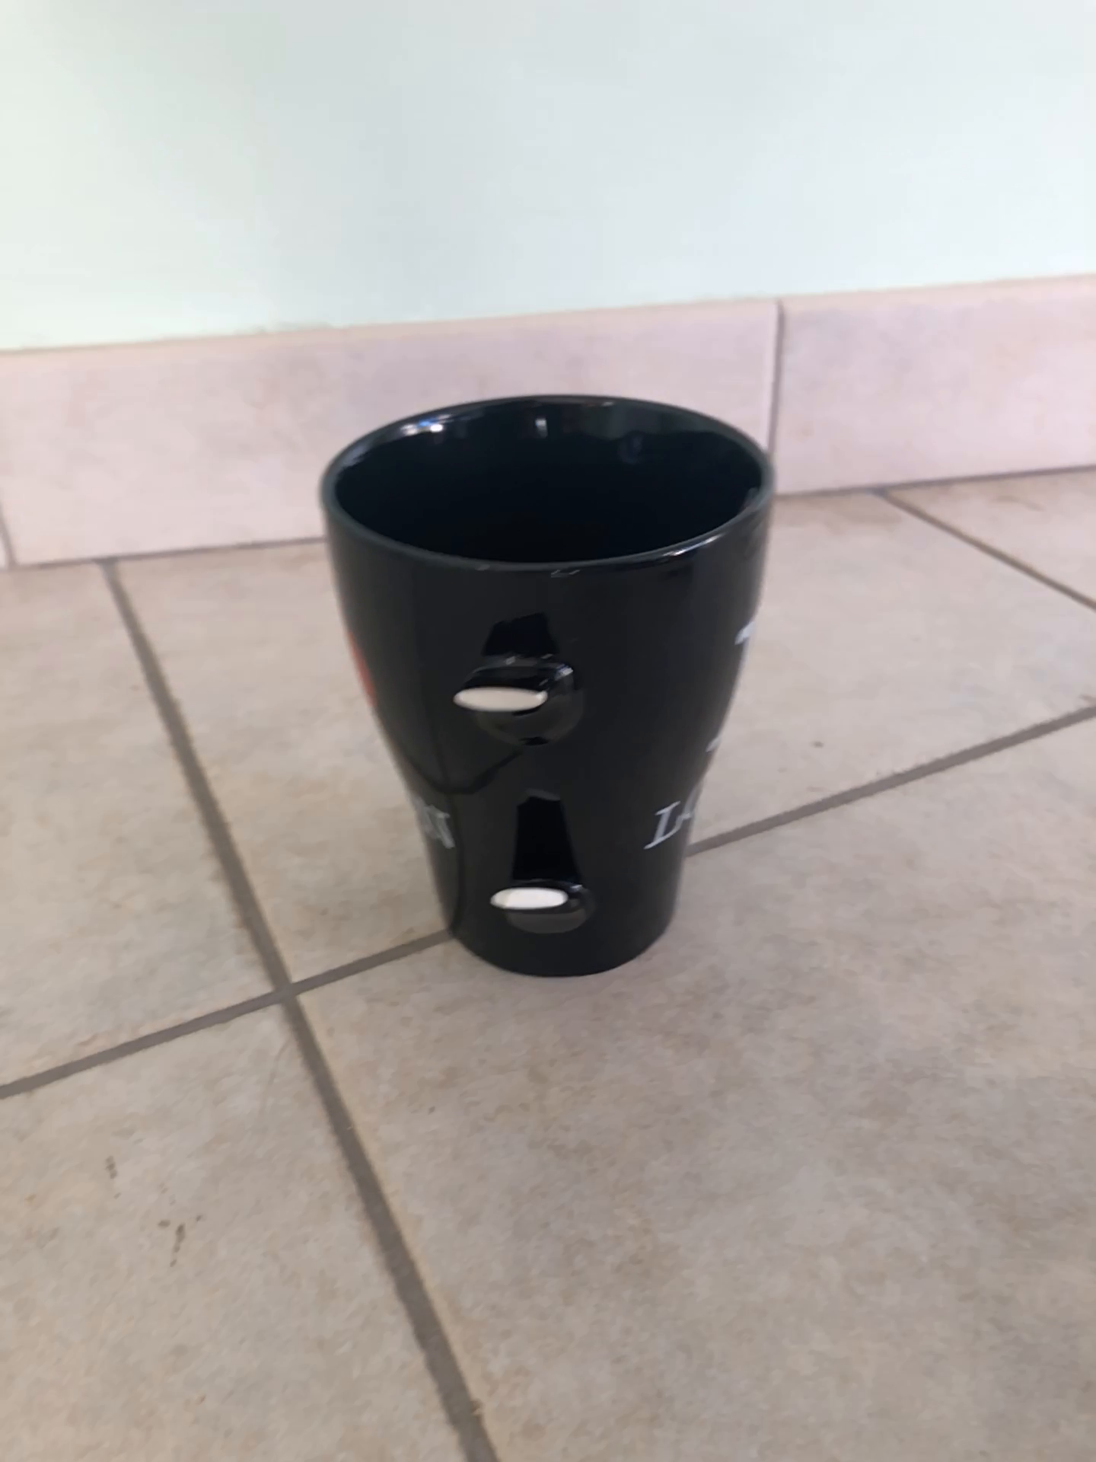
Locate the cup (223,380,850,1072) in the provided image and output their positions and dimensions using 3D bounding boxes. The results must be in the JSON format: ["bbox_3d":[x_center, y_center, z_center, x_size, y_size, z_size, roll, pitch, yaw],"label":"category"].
[{"bbox_3d":[-0.002,-0.006,0.263,0.098,0.103,0.108,-2,33,-1],"label":"cup"}]
